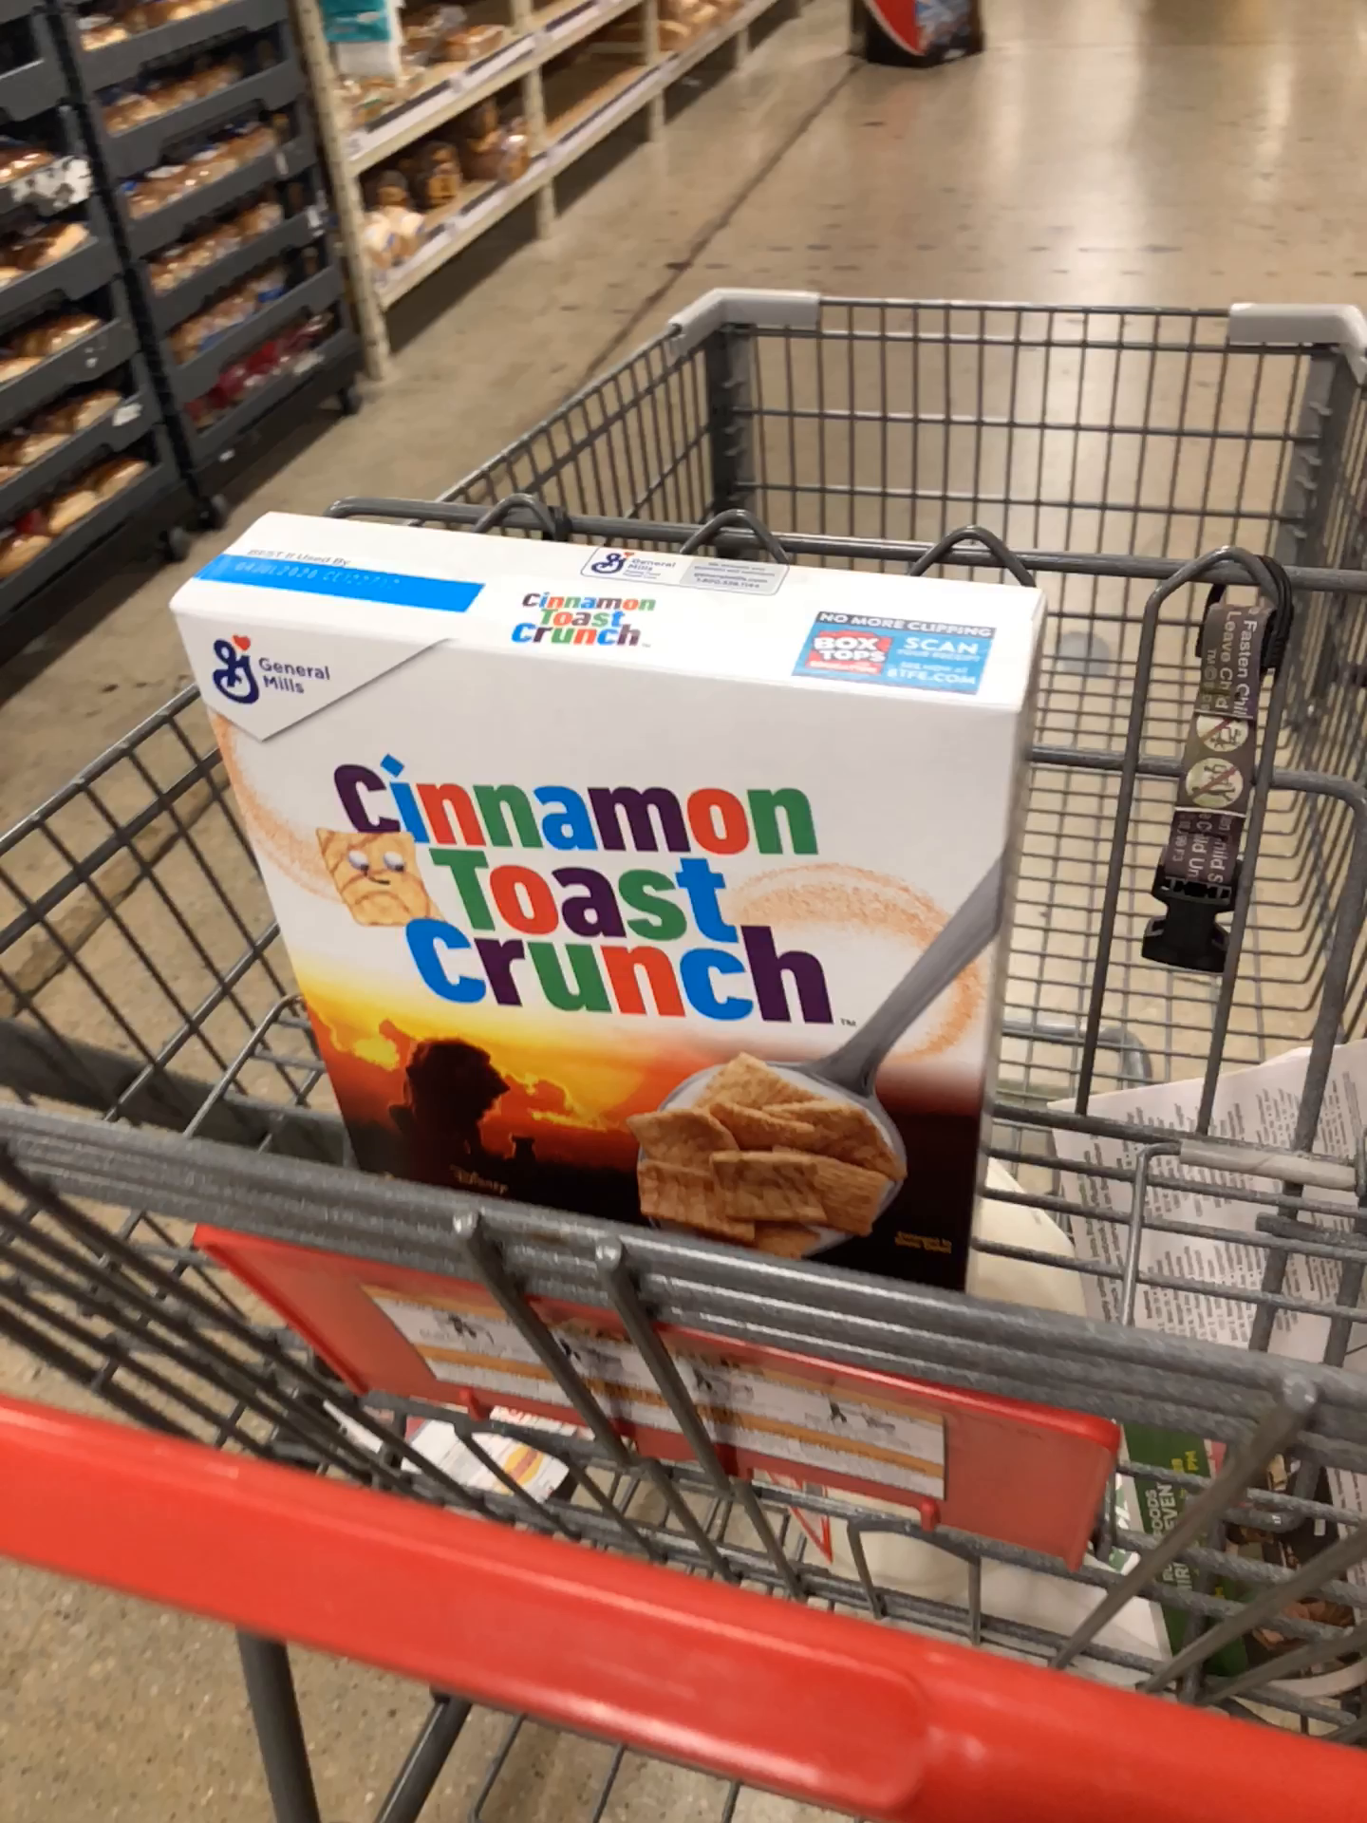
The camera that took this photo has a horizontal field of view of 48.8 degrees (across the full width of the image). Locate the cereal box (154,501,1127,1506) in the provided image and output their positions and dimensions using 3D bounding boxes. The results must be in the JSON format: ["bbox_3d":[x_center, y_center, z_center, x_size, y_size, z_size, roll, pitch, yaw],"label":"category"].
[{"bbox_3d":[0.000,0.044,0.433,0.210,0.309,0.050,10,44,18],"label":"cereal box"}]
